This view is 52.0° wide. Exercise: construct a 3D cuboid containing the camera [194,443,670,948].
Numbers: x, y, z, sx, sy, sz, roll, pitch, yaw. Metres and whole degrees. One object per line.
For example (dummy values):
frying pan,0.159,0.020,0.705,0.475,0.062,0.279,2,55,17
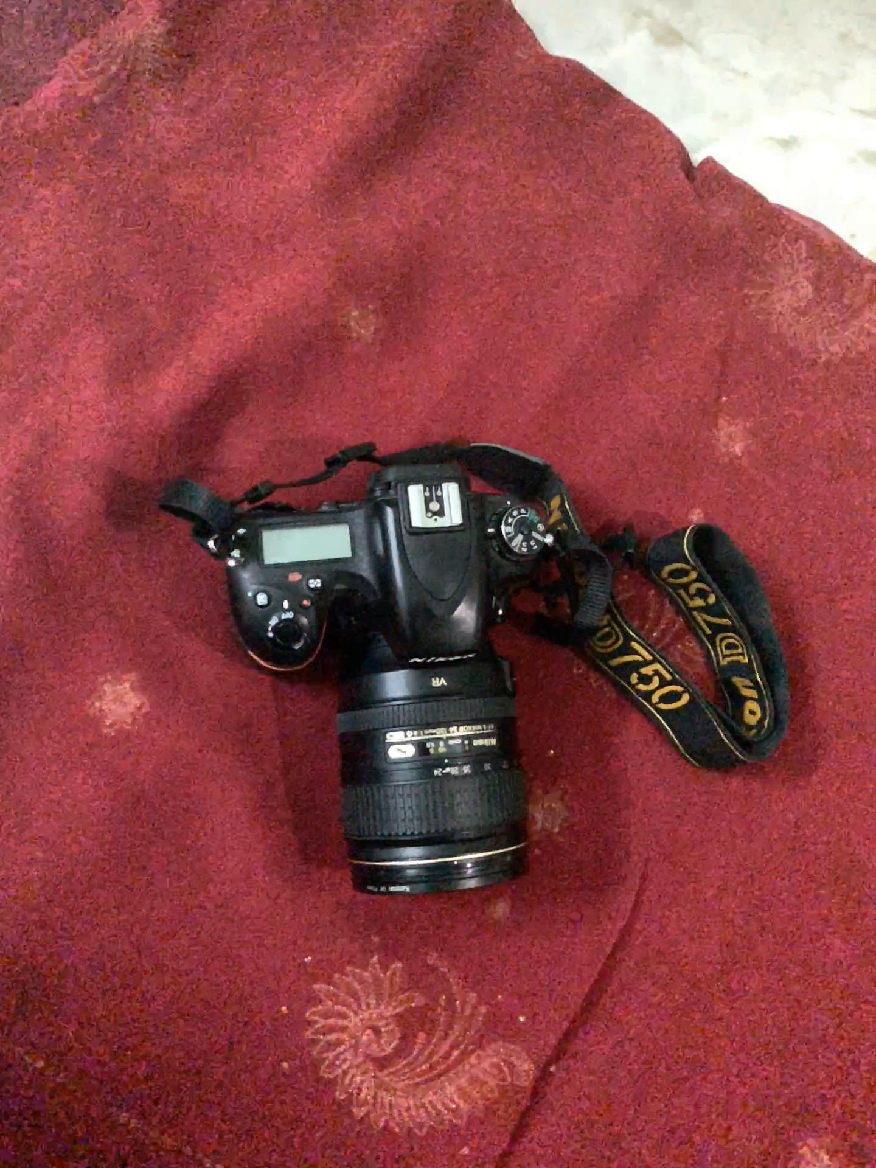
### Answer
camera,-0.011,0.042,0.361,0.150,0.110,0.160,-4,79,-9
